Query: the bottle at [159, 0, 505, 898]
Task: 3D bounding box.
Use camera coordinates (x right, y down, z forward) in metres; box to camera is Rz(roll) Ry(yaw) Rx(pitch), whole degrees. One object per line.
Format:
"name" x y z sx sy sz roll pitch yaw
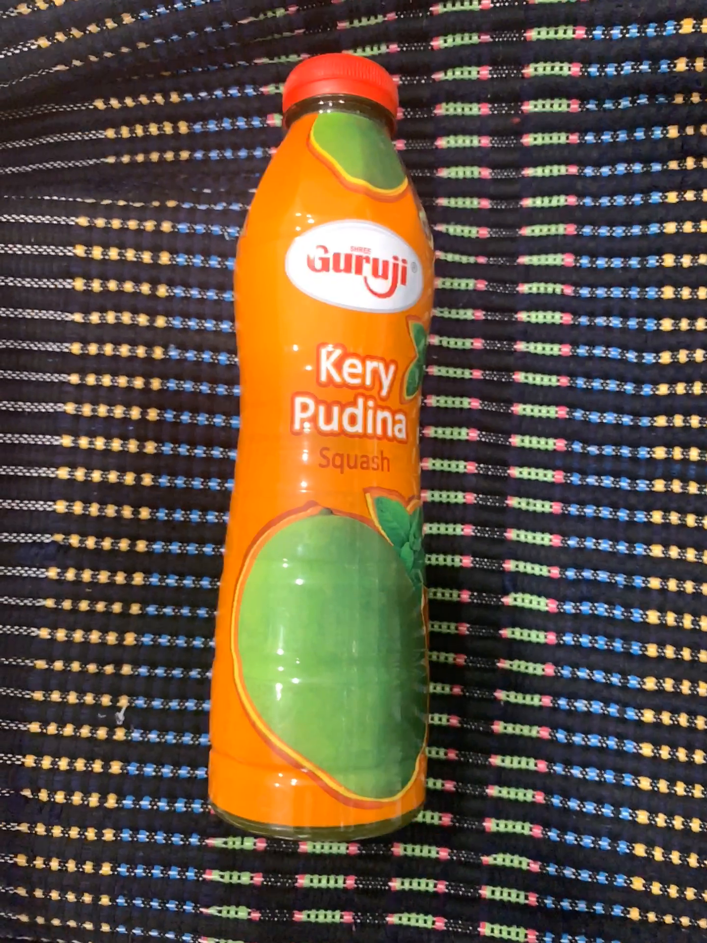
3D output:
"bottle" -0.004 -0.009 0.234 0.070 0.070 0.230 9 81 -44
